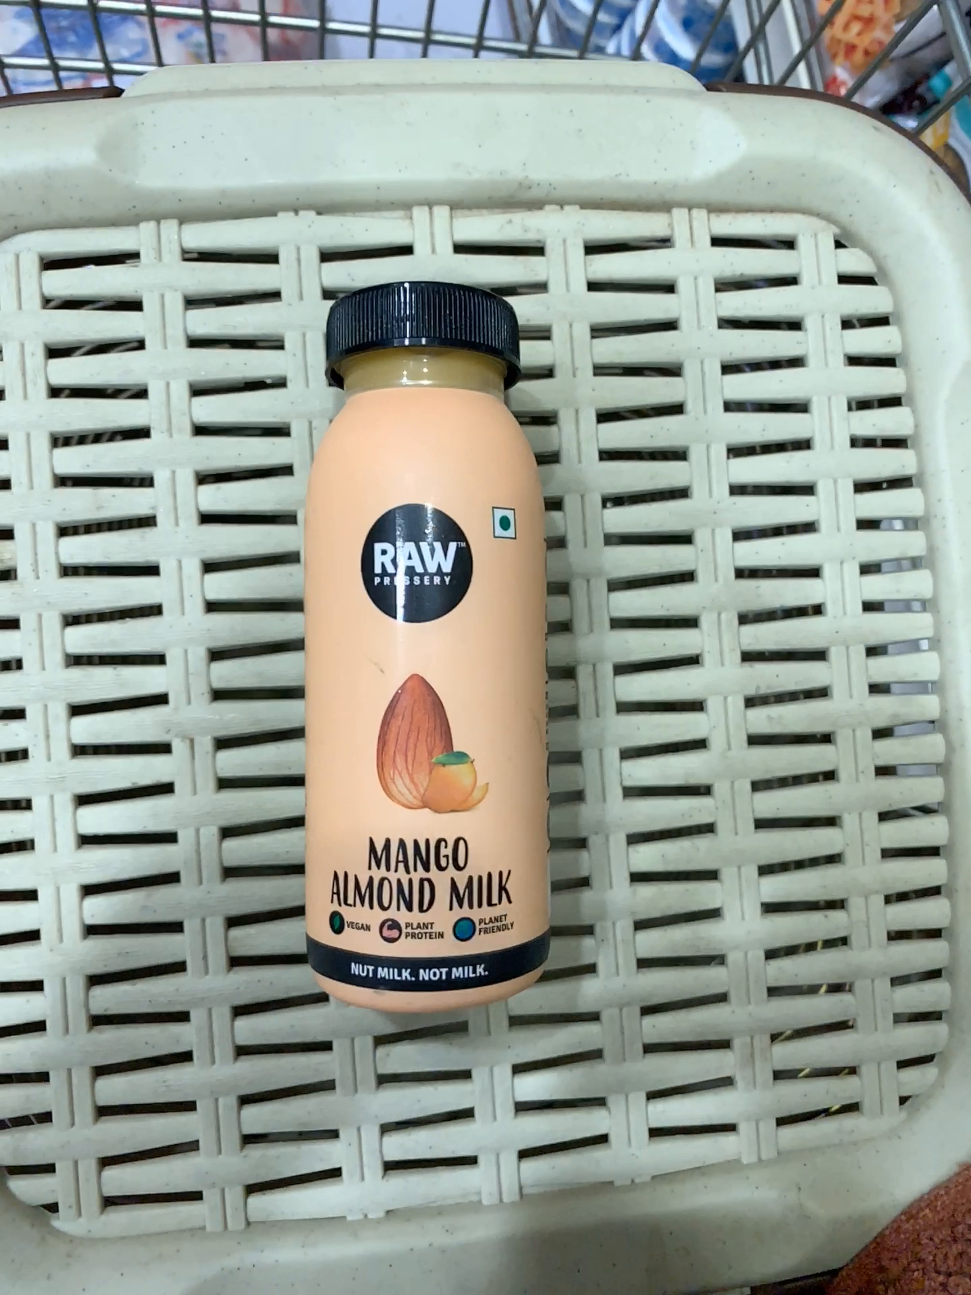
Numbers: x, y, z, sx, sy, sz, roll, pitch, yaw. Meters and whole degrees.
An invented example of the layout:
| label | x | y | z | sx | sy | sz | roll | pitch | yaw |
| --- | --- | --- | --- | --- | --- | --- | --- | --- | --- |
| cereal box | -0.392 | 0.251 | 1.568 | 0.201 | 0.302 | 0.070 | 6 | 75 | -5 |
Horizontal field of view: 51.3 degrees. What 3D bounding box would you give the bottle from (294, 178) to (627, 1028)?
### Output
| label | x | y | z | sx | sy | sz | roll | pitch | yaw |
| --- | --- | --- | --- | --- | --- | --- | --- | --- | --- |
| bottle | -0.006 | -0.008 | 0.202 | 0.060 | 0.040 | 0.150 | 0 | 88 | -9 |
